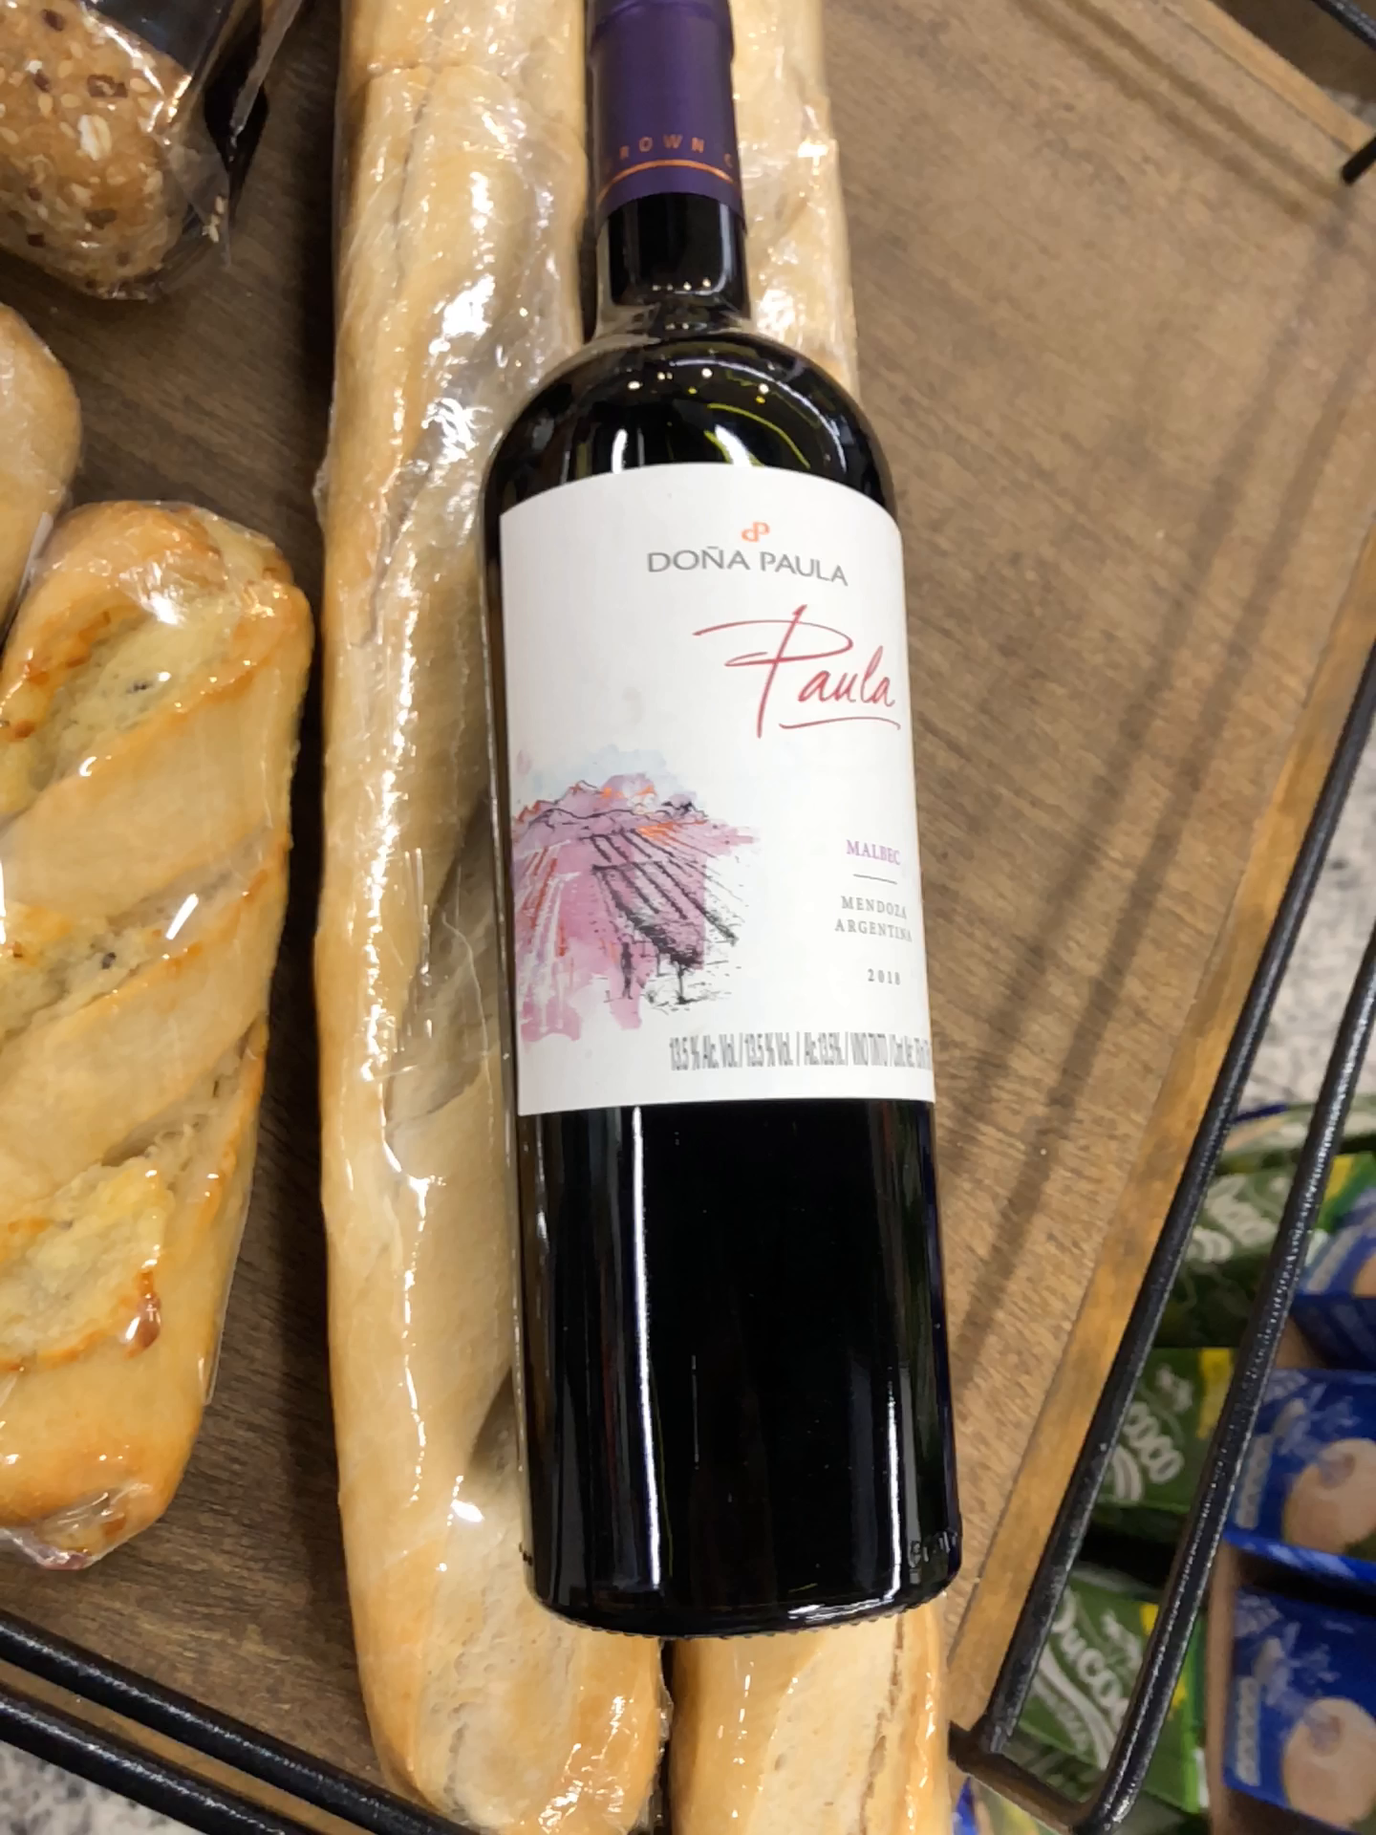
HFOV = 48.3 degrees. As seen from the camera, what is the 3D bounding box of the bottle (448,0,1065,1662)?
[{"bbox_3d":[0.003,-0.045,0.267,0.070,0.060,0.300,1,78,-19],"label":"bottle"}]
